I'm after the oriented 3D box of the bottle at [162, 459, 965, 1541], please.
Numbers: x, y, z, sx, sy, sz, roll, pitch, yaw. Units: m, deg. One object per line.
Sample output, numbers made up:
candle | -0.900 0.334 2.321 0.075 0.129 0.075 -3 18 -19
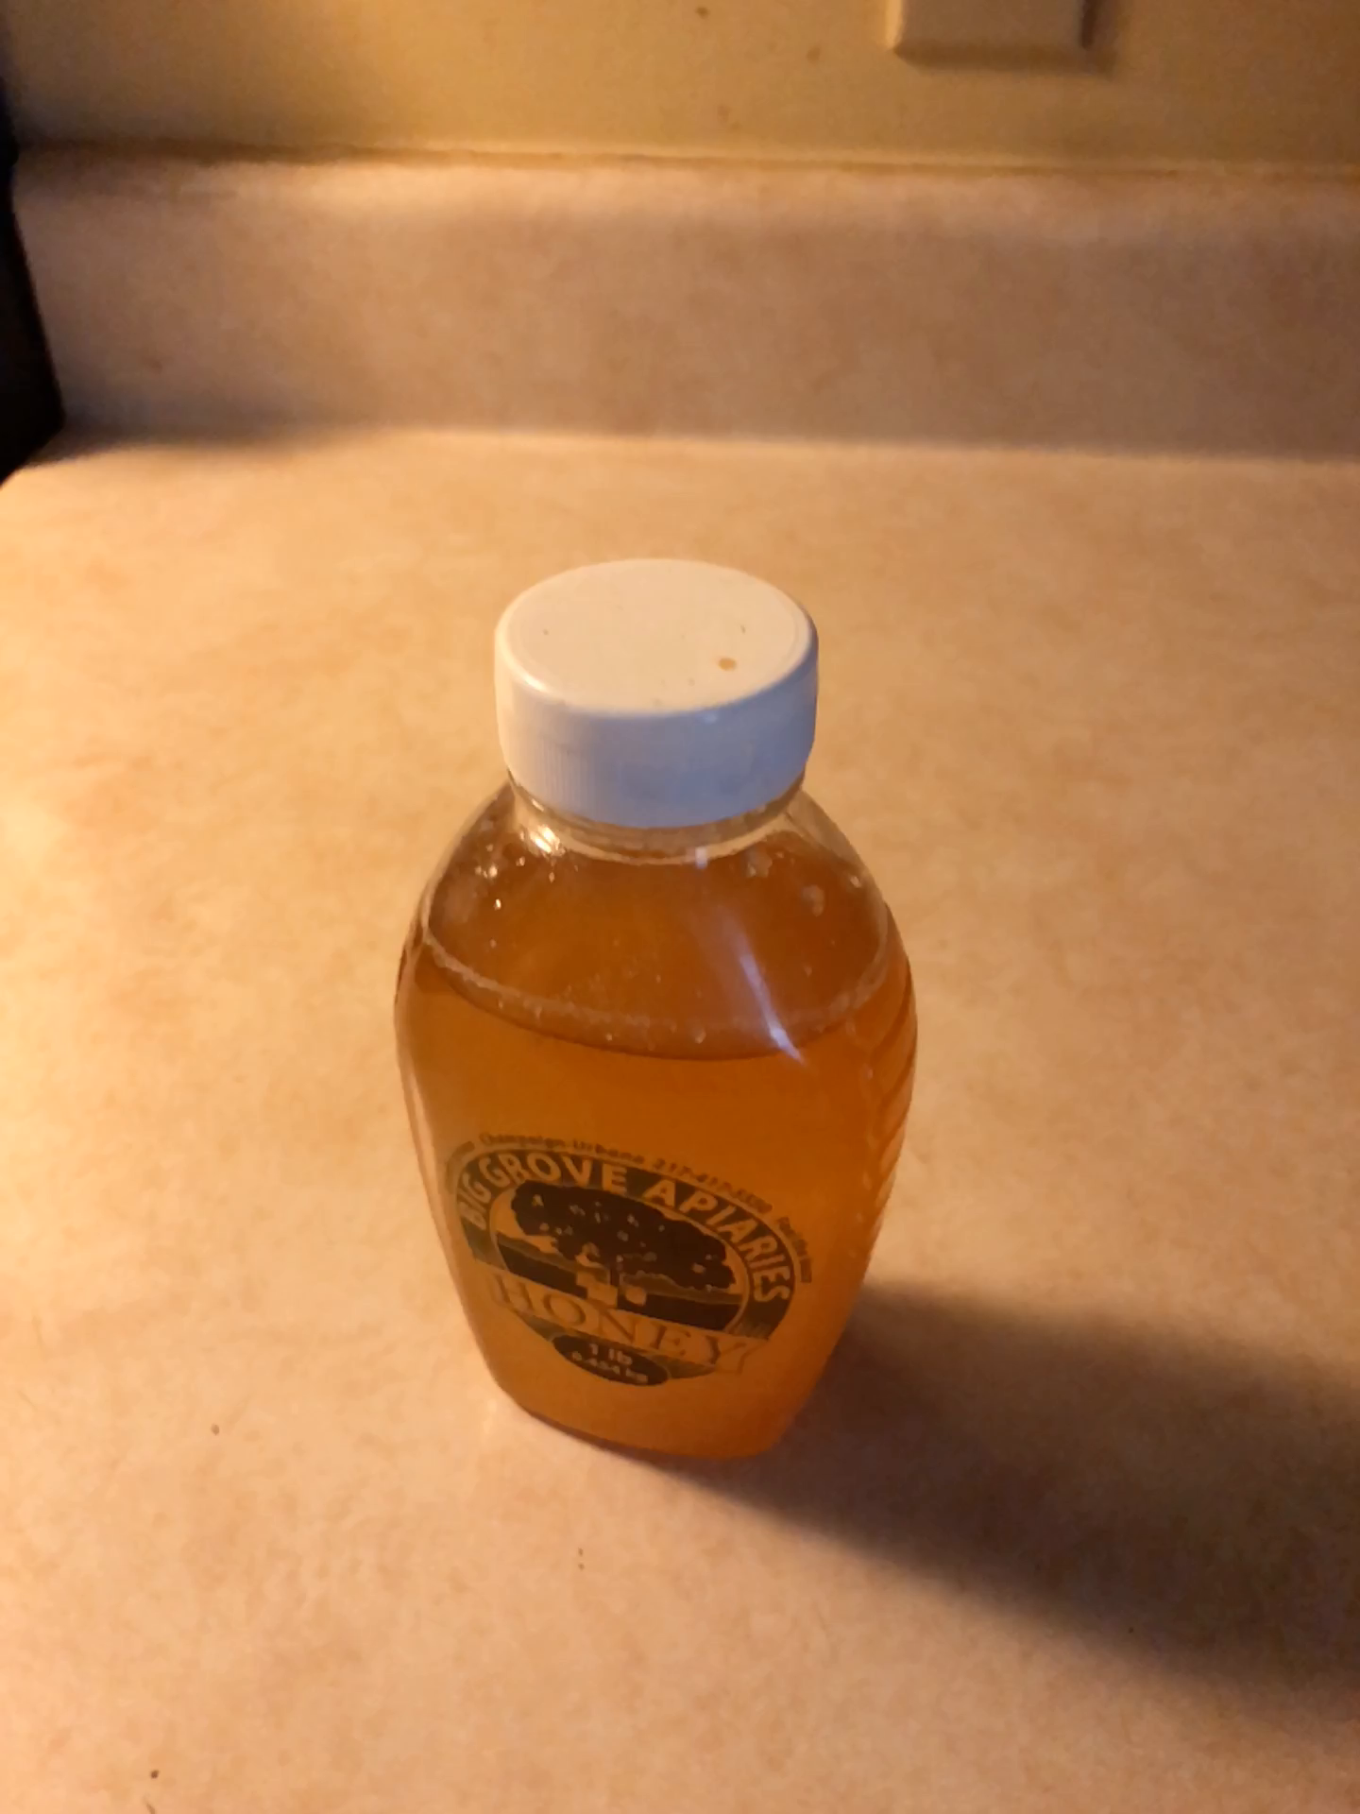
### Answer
bottle | -0.010 0.018 0.223 0.080 0.140 0.060 10 38 12
